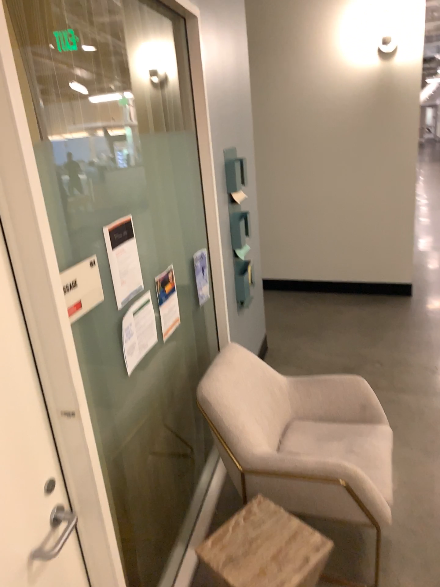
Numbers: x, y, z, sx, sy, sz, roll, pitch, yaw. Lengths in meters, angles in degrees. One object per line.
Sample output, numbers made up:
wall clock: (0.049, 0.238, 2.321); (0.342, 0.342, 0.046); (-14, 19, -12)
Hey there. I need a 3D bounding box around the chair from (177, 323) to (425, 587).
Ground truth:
chair: (0.401, 0.734, 2.095); (0.871, 0.926, 0.783); (0, 20, 17)
